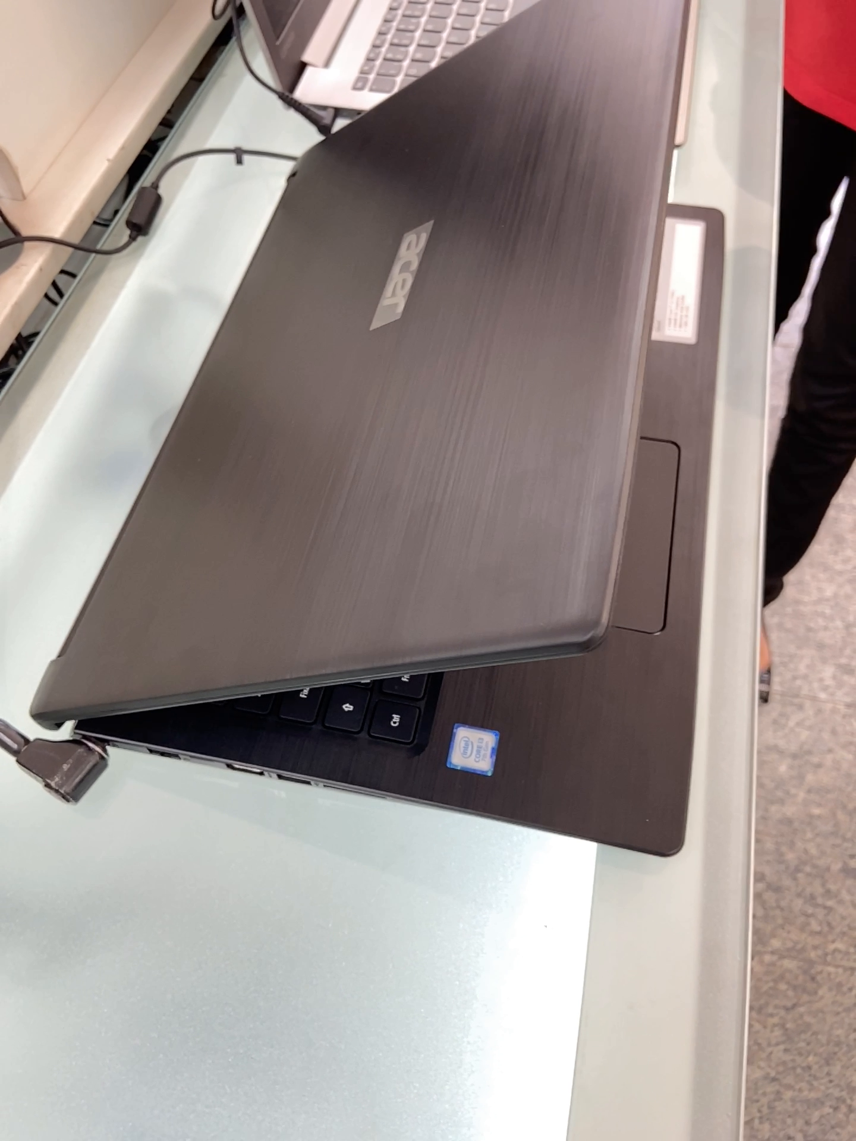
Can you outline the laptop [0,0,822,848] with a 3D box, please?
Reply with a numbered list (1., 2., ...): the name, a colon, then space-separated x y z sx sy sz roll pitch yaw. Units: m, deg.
1. laptop: 0.011 -0.112 0.365 0.232 0.142 0.368 9 58 7
